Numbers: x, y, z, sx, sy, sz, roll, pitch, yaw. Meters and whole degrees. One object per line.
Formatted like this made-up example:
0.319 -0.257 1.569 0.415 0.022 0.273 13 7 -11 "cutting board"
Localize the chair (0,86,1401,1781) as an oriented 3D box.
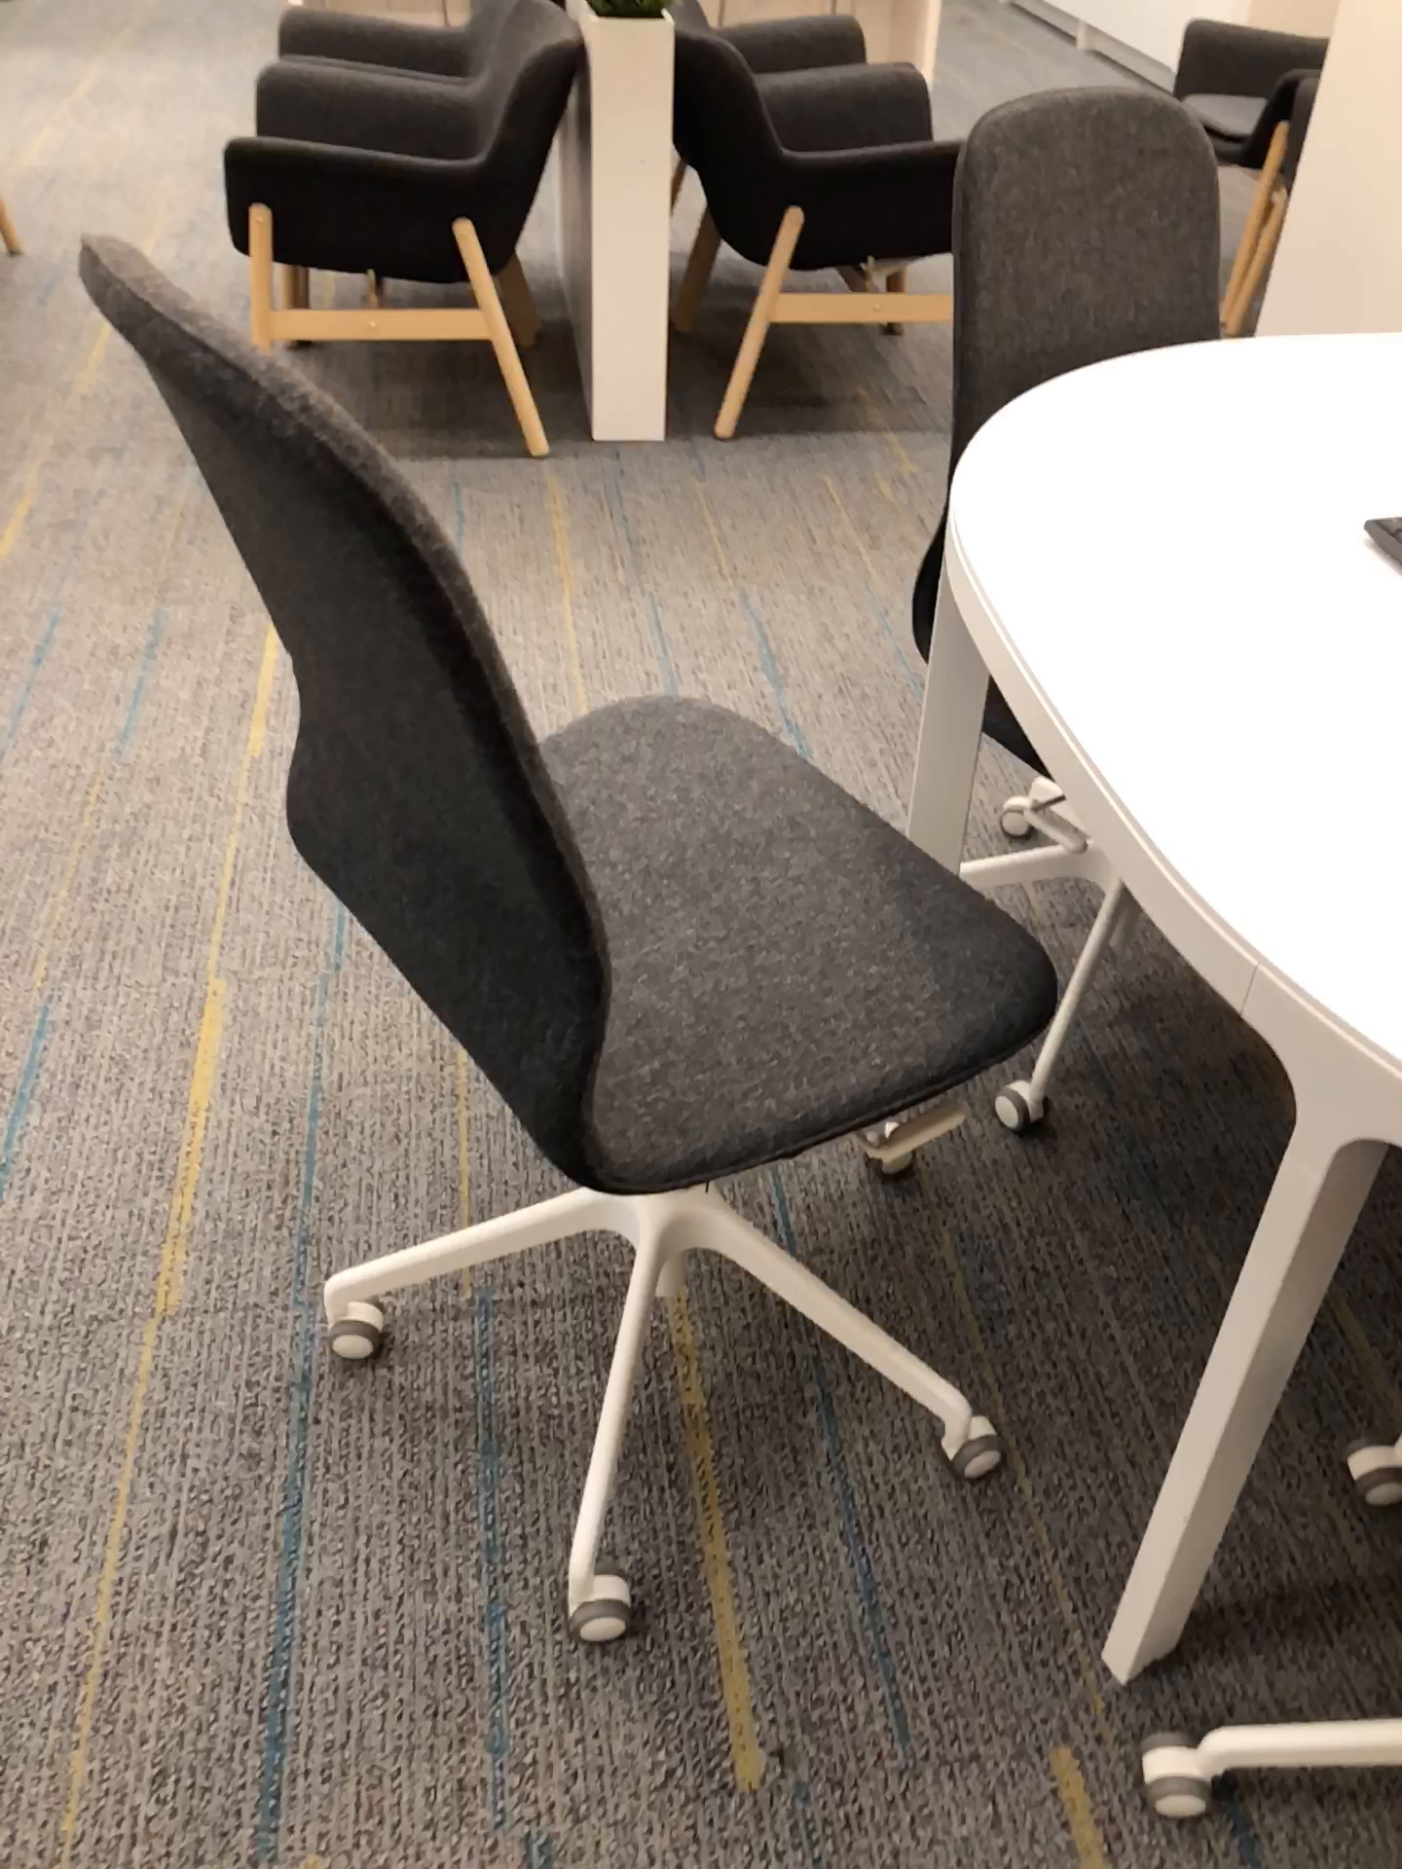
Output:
-0.029 -0.018 1.189 0.631 0.993 0.633 -20 44 -26 "chair"
